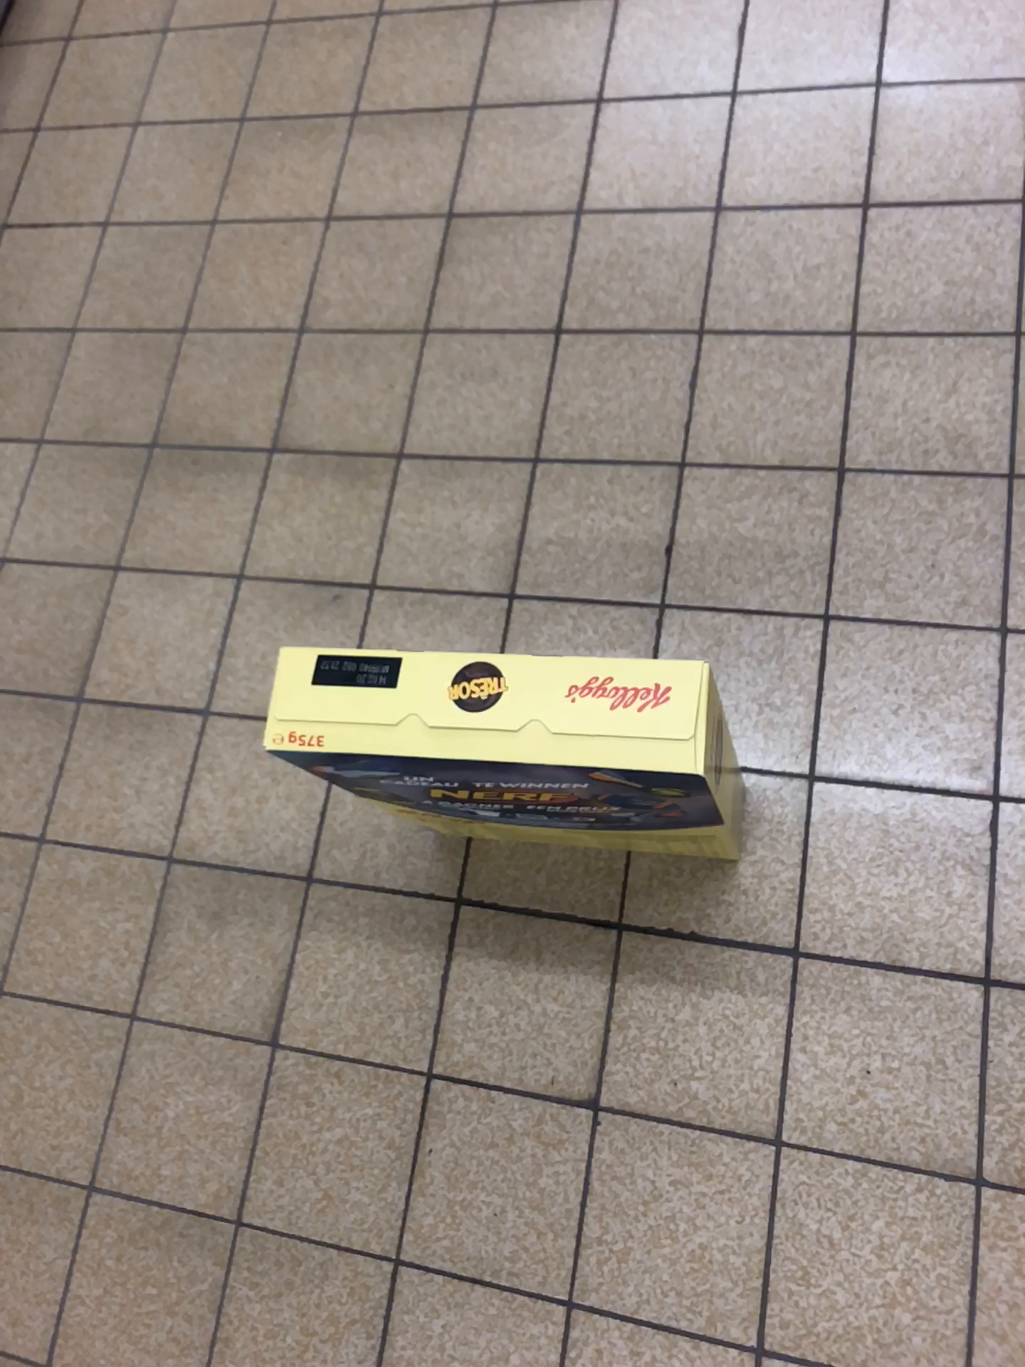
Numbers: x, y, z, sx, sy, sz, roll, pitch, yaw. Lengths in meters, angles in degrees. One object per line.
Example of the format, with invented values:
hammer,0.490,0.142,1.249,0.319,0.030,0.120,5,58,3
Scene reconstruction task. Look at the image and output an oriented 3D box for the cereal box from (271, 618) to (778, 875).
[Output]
cereal box,0.027,0.040,0.568,0.200,0.240,0.060,2,73,15
